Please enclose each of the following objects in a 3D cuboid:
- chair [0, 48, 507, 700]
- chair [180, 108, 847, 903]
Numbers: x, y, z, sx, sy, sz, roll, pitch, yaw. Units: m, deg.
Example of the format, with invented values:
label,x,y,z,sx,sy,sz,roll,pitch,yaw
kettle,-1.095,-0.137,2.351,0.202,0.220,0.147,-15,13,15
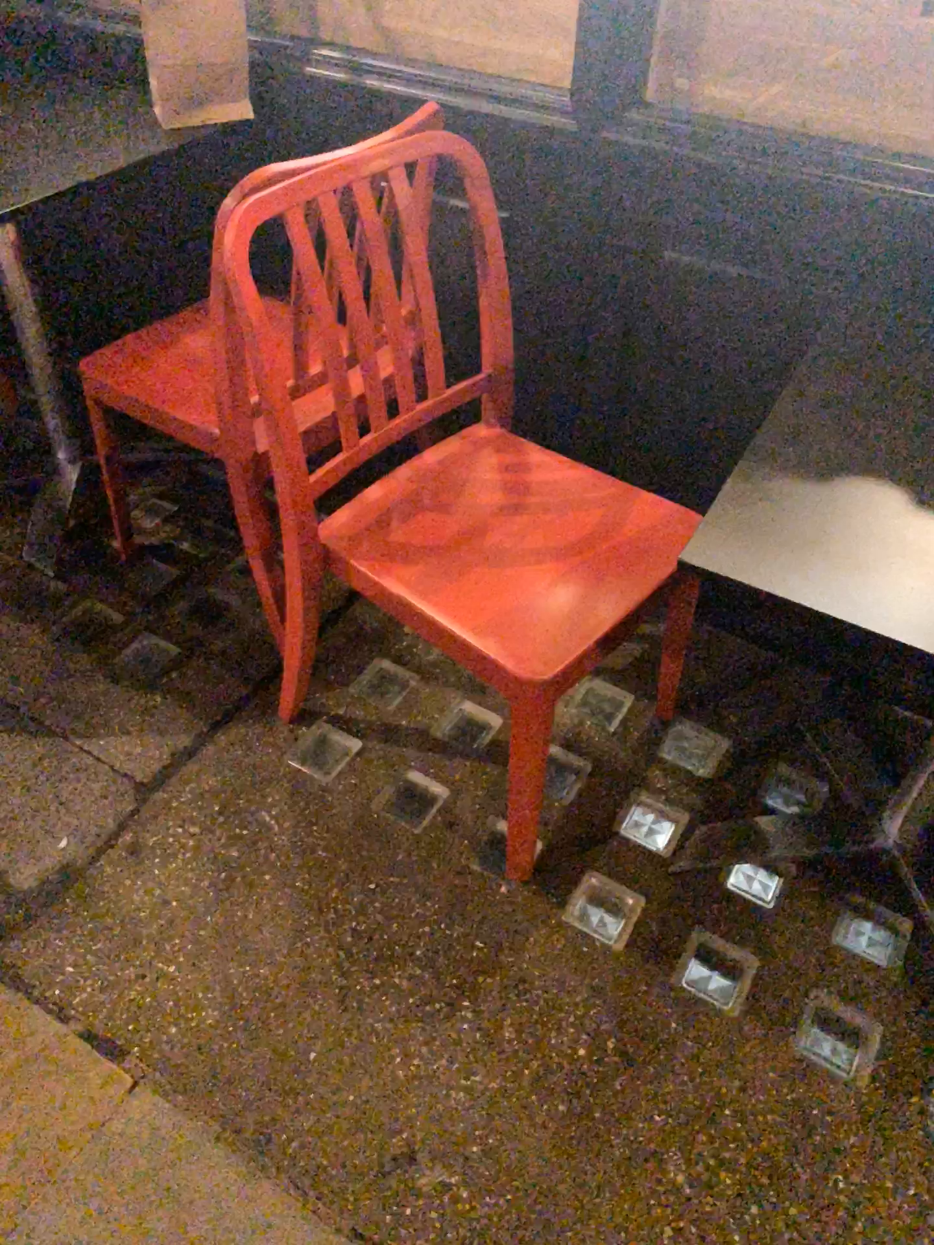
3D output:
label,x,y,z,sx,sy,sz,roll,pitch,yaw
chair,-0.329,-0.435,1.661,0.542,0.851,0.544,25,46,23
chair,0.058,-0.179,1.391,0.562,0.851,0.574,27,47,25
